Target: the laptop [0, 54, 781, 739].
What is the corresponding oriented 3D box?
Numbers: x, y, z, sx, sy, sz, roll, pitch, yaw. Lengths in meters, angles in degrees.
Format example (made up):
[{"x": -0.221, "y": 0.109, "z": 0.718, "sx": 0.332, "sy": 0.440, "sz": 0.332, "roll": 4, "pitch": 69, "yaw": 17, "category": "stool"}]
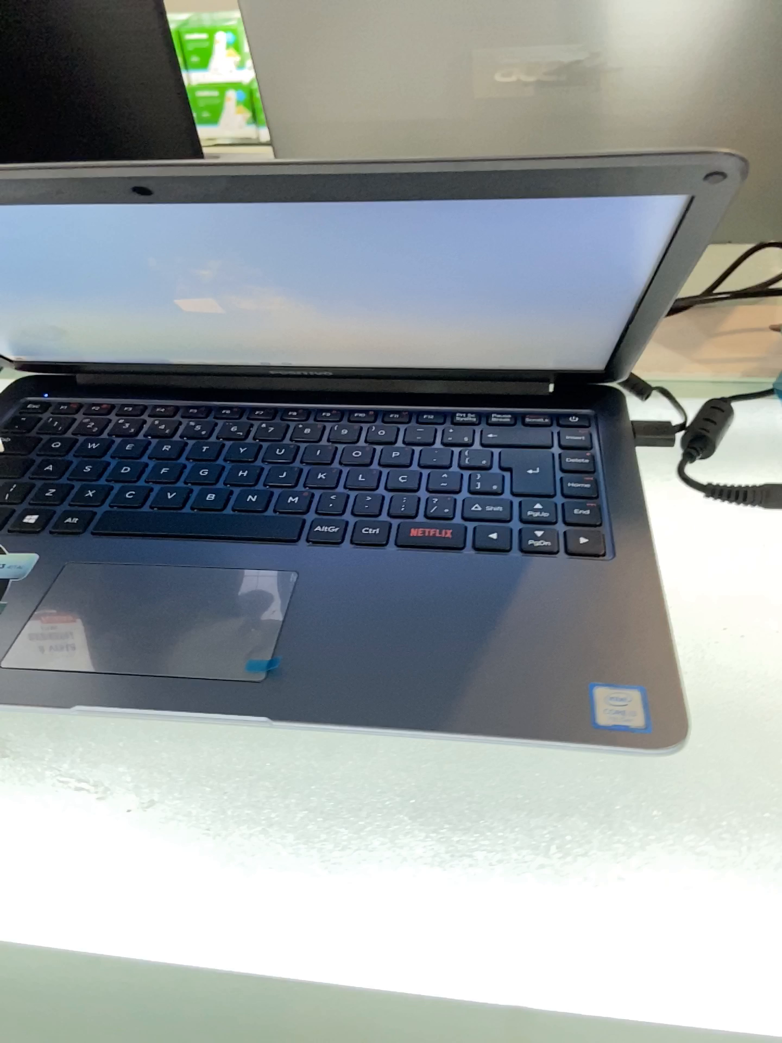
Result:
[{"x": -0.062, "y": -0.064, "z": 0.298, "sx": 0.316, "sy": 0.145, "sz": 0.212, "roll": 2, "pitch": 39, "yaw": 8, "category": "laptop"}]
